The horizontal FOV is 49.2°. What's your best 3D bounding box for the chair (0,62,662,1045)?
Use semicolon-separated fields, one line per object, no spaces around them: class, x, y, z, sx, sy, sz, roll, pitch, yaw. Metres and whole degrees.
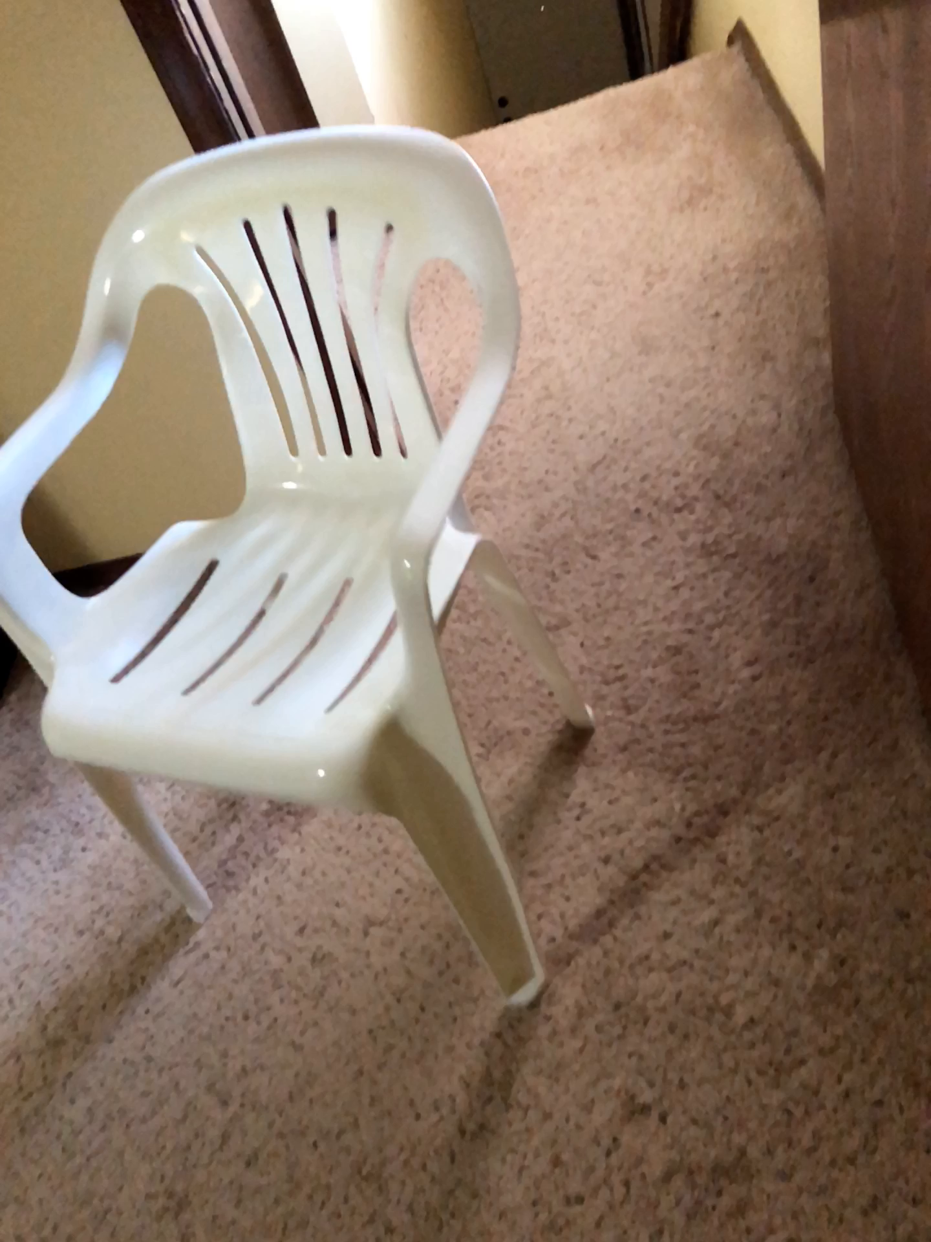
chair;-0.198;-0.015;1.031;0.582;0.768;0.470;5;52;26
